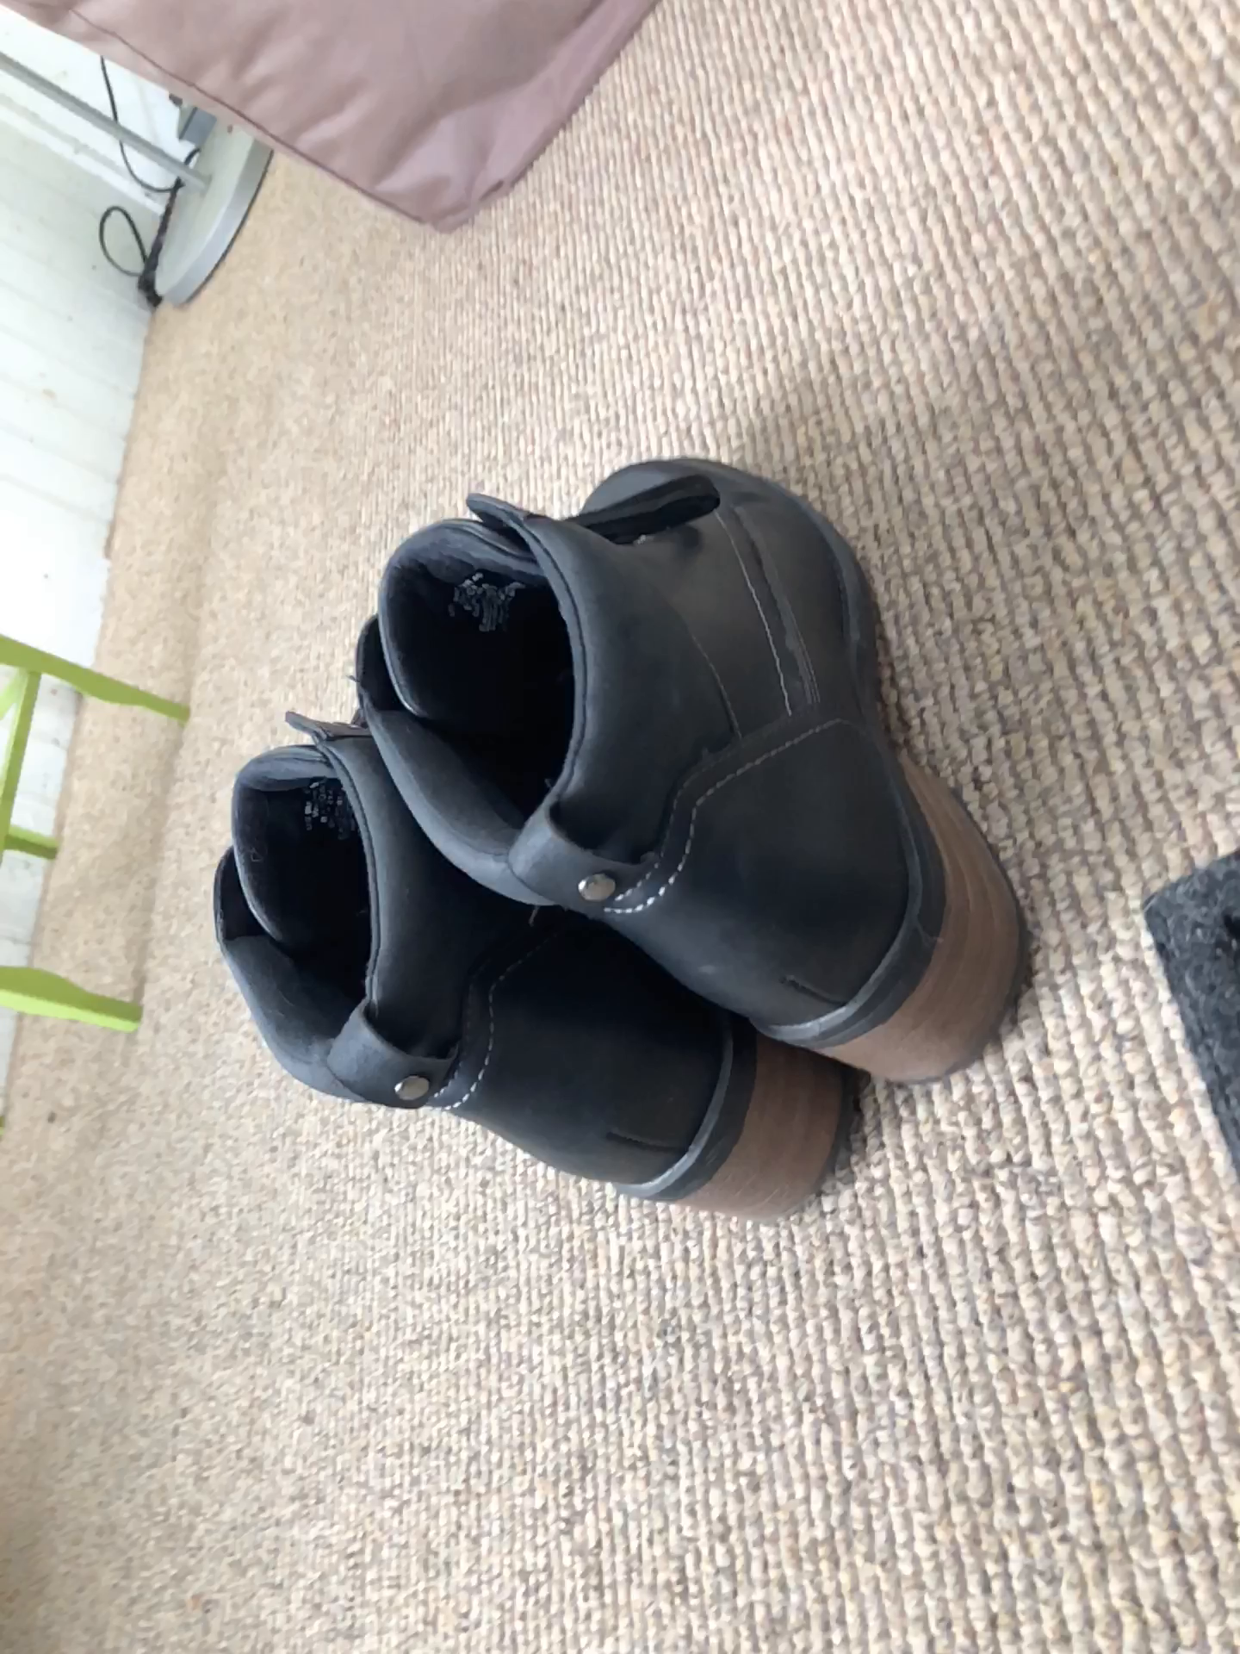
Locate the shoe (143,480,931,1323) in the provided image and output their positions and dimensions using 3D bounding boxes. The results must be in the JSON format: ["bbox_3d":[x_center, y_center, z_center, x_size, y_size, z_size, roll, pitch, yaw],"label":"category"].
[{"bbox_3d":[-0.048,0.011,0.452,0.097,0.165,0.268,-55,36,18],"label":"shoe"}]

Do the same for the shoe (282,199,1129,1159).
[{"bbox_3d":[0.003,-0.056,0.413,0.094,0.162,0.274,-49,38,25],"label":"shoe"}]
